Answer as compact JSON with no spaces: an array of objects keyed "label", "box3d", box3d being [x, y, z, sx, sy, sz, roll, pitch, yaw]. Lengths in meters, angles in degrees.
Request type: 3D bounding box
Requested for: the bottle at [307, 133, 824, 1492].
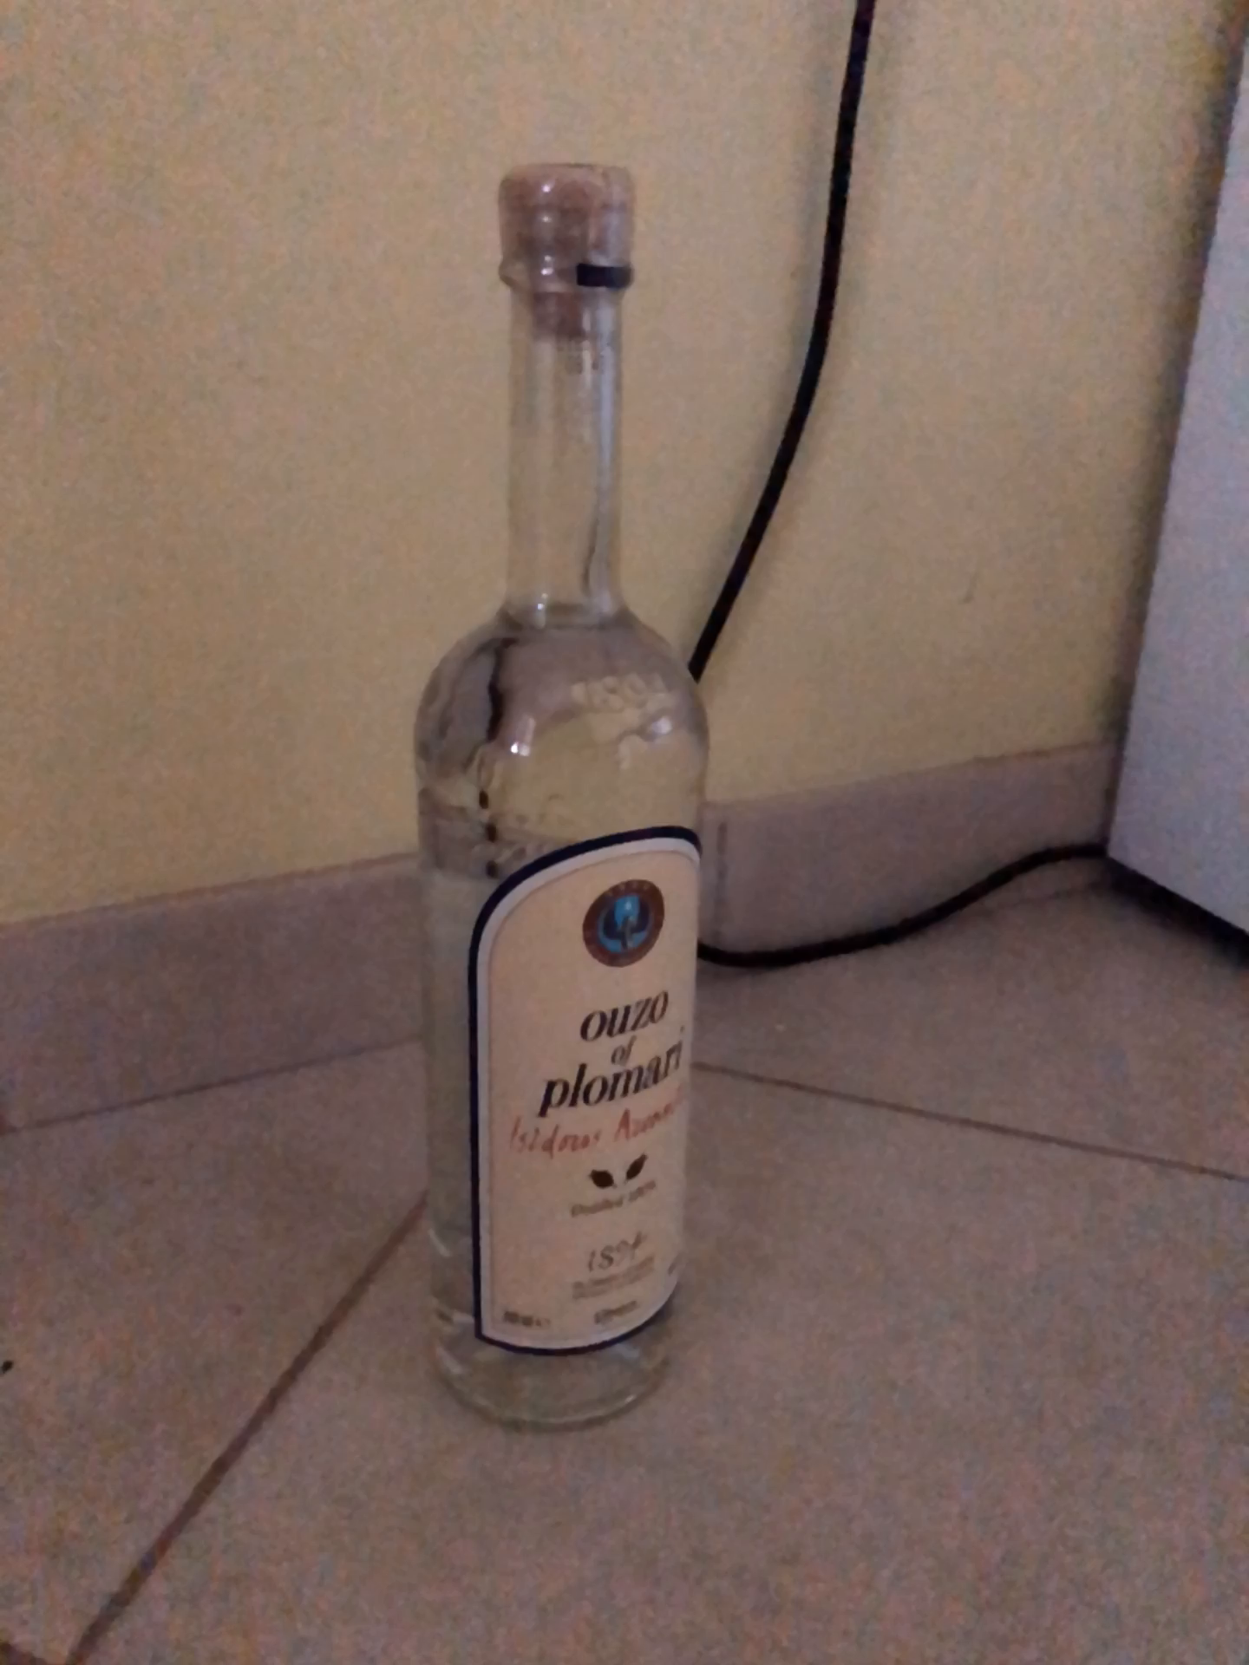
[{"label":"bottle","box3d":[-0.019,0.005,0.350,0.080,0.318,0.080,2,23,-1]}]
